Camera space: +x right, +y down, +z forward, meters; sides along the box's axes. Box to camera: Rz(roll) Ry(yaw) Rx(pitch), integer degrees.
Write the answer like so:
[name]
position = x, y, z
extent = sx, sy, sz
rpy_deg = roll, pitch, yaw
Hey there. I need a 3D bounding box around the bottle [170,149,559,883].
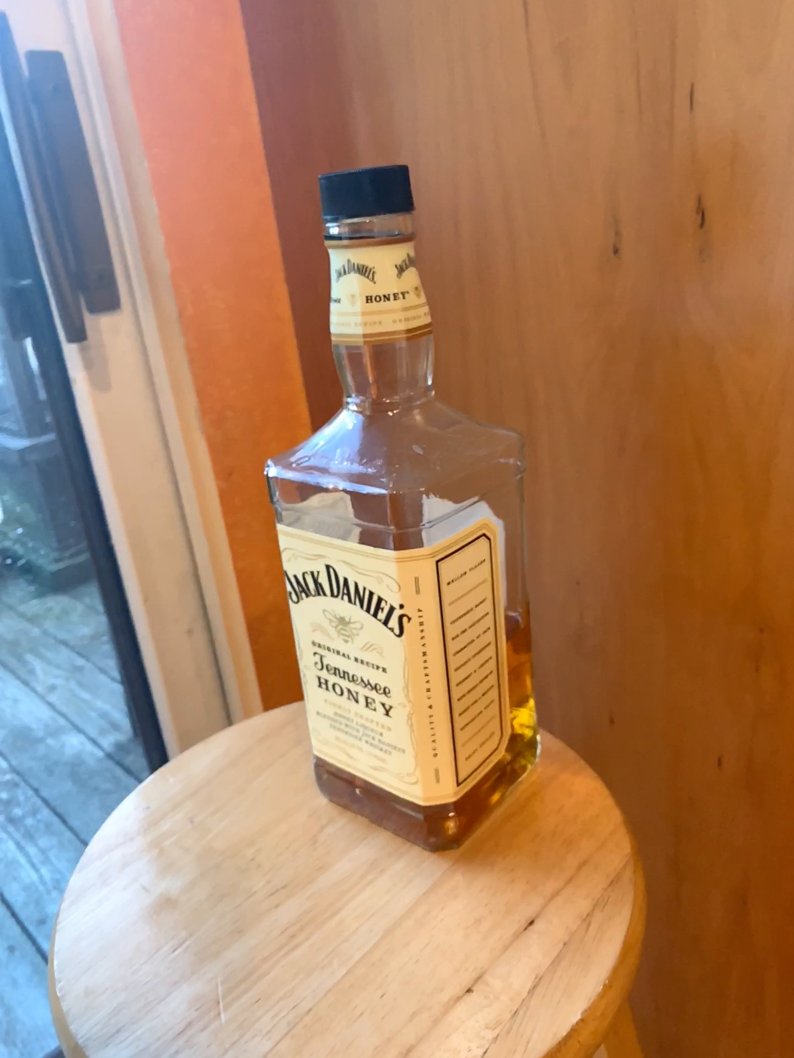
[bottle]
position = -0.003, -0.004, 0.421
extent = 0.120, 0.328, 0.100
rpy_deg = 11, 28, 39
